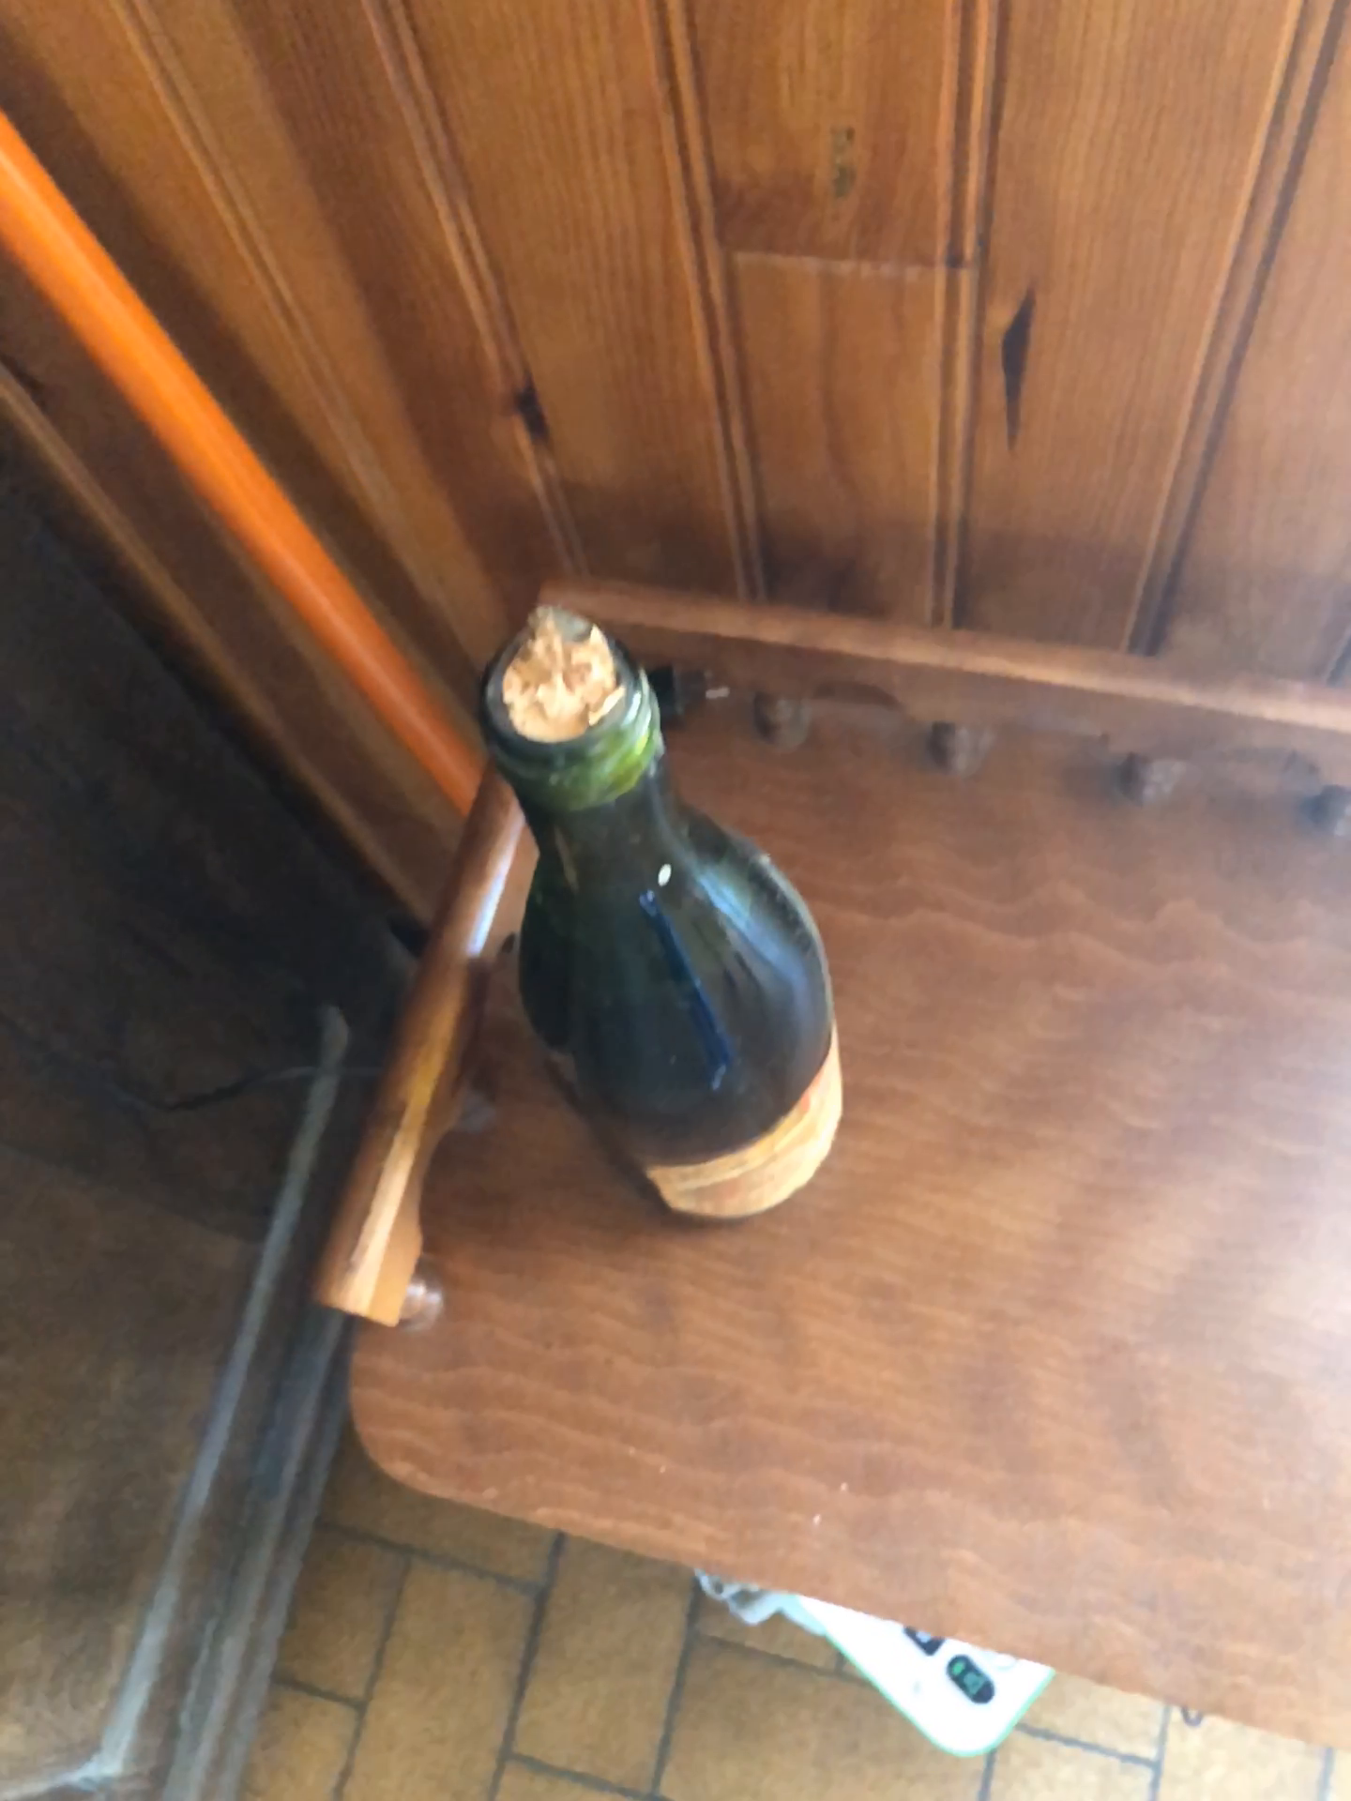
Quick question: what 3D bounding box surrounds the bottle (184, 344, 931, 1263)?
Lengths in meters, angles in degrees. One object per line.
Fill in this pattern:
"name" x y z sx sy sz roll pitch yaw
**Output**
"bottle" 0.000 0.008 0.364 0.090 0.279 0.090 -3 68 7
